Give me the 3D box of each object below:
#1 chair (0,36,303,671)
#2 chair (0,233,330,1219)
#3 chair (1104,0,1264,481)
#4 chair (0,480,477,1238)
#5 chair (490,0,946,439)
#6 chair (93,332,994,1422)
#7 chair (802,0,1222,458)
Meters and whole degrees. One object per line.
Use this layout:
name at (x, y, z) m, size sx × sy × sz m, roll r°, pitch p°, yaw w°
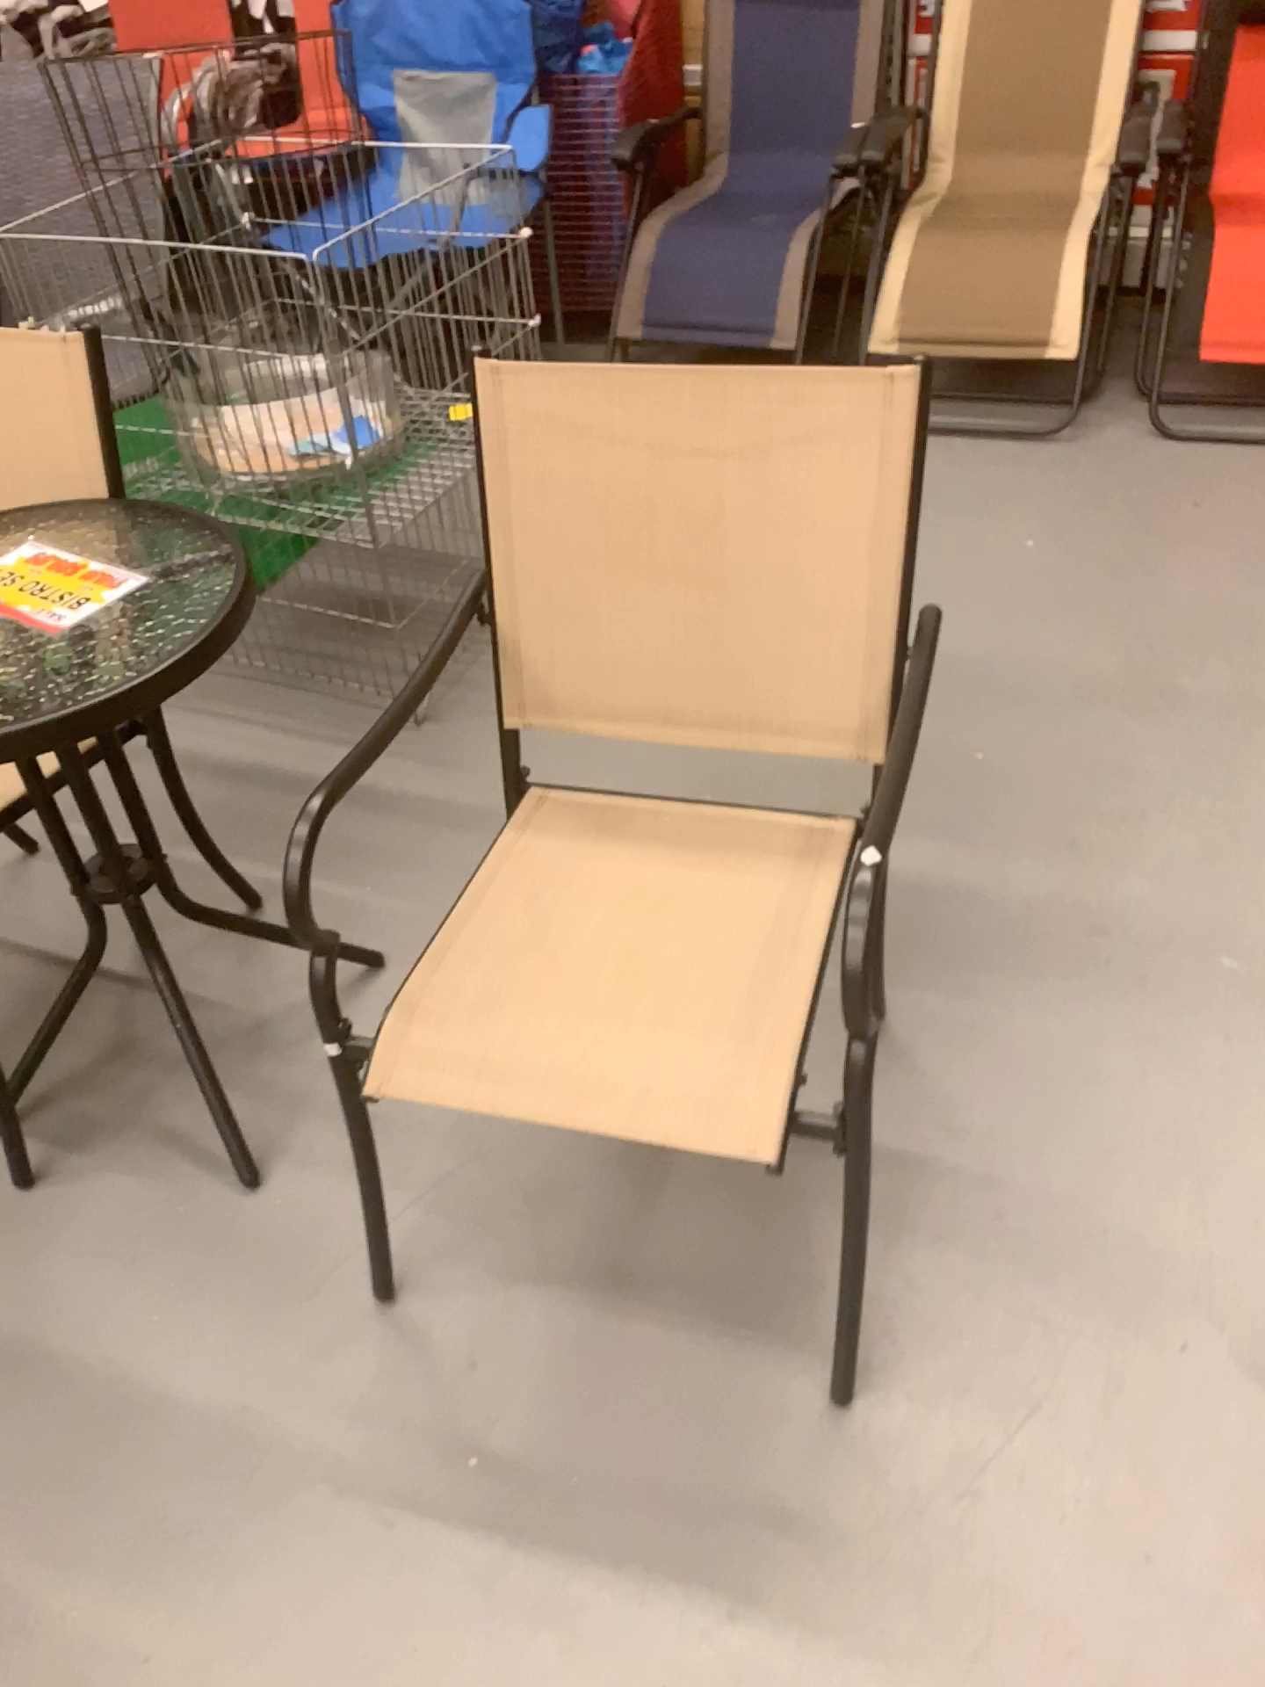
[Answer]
chair at (-1.226, -0.966, 2.545) m, size 0.665 × 0.952 × 0.678 m, roll 10°, pitch 42°, yaw 18°
chair at (-0.917, -0.161, 1.603) m, size 0.615 × 0.922 × 0.678 m, roll 10°, pitch 42°, yaw 18°
chair at (1.554, -1.579, 2.924) m, size 0.734 × 0.982 × 1.271 m, roll 8°, pitch 42°, yaw 16°
chair at (-0.588, -0.003, 1.557) m, size 0.524 × 0.634 × 0.548 m, roll 10°, pitch 42°, yaw 18°
chair at (0.305, -1.885, 3.461) m, size 0.735 × 1.071 × 1.271 m, roll 11°, pitch 43°, yaw 19°
chair at (0.016, 0.026, 1.321) m, size 0.574 × 0.862 × 0.618 m, roll 6°, pitch 41°, yaw 14°
chair at (0.943, -1.744, 3.206) m, size 0.735 × 1.042 × 1.271 m, roll 10°, pitch 42°, yaw 18°
